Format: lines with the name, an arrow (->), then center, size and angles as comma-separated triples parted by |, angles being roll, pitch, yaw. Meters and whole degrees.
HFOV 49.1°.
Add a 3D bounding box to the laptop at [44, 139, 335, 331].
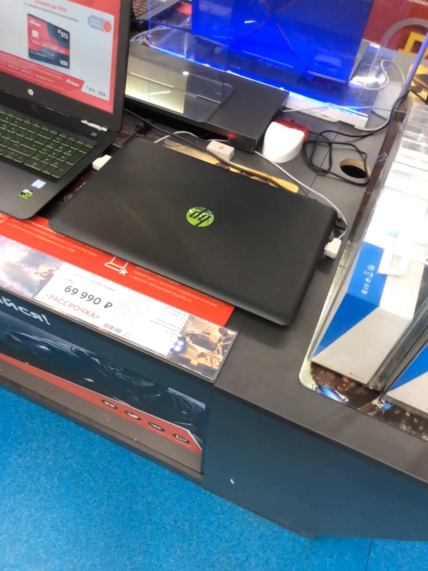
laptop -> -0.026, -0.098, 0.705 | 0.372, 0.006, 0.240 | 22, 53, 11
